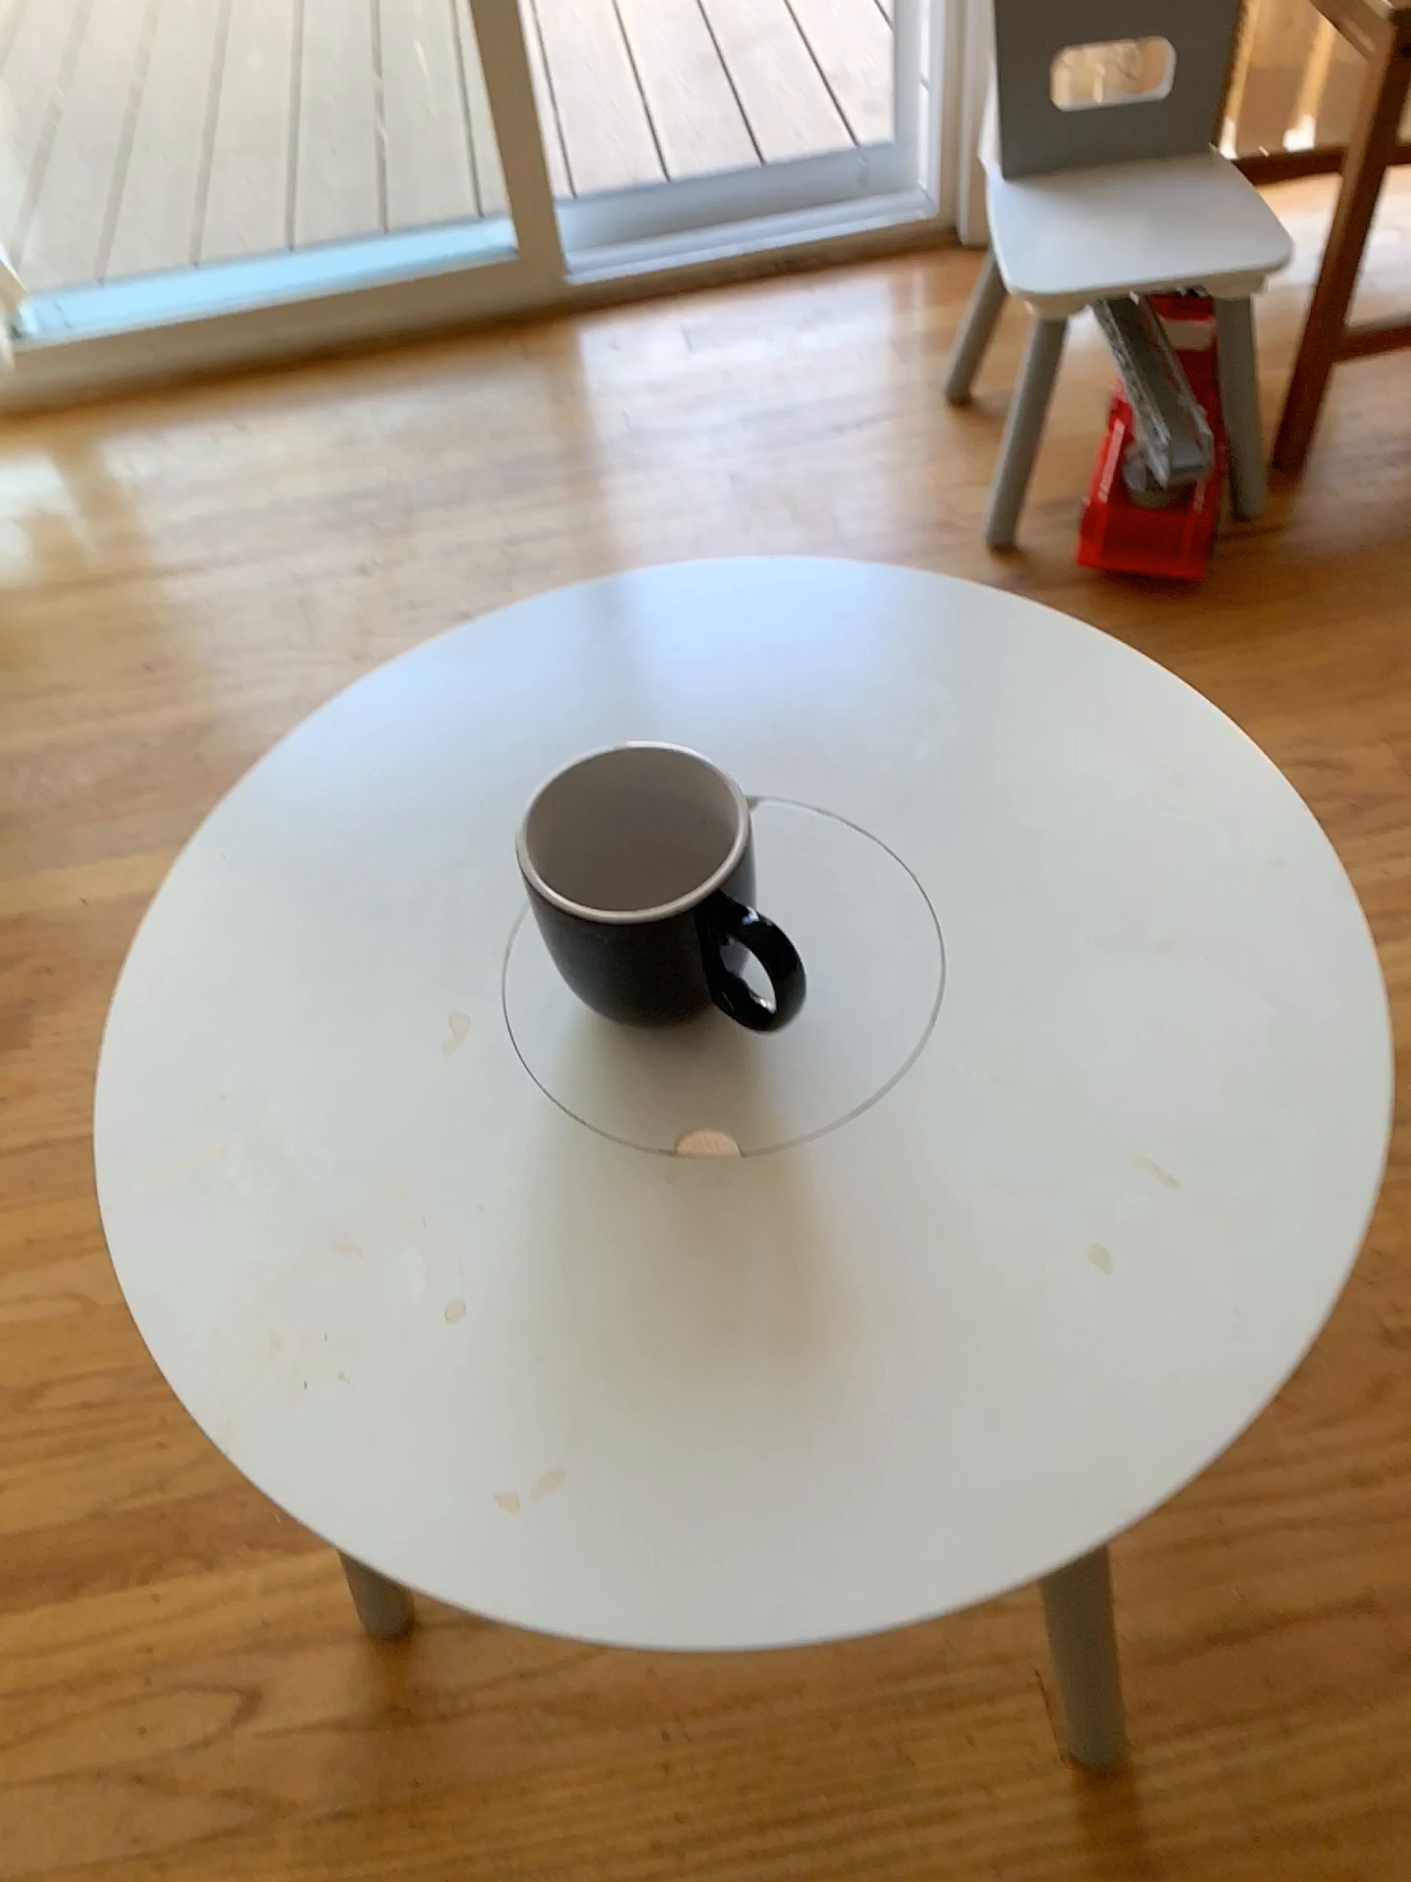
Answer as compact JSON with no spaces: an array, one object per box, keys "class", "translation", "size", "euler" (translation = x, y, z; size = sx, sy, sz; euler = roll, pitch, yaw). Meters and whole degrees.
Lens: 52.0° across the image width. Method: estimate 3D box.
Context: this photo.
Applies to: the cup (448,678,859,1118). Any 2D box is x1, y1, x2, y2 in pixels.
[{"class":"cup","translation":[-0.020,-0.021,0.620],"size":[0.100,0.090,0.141],"euler":[-37,58,-20]}]
